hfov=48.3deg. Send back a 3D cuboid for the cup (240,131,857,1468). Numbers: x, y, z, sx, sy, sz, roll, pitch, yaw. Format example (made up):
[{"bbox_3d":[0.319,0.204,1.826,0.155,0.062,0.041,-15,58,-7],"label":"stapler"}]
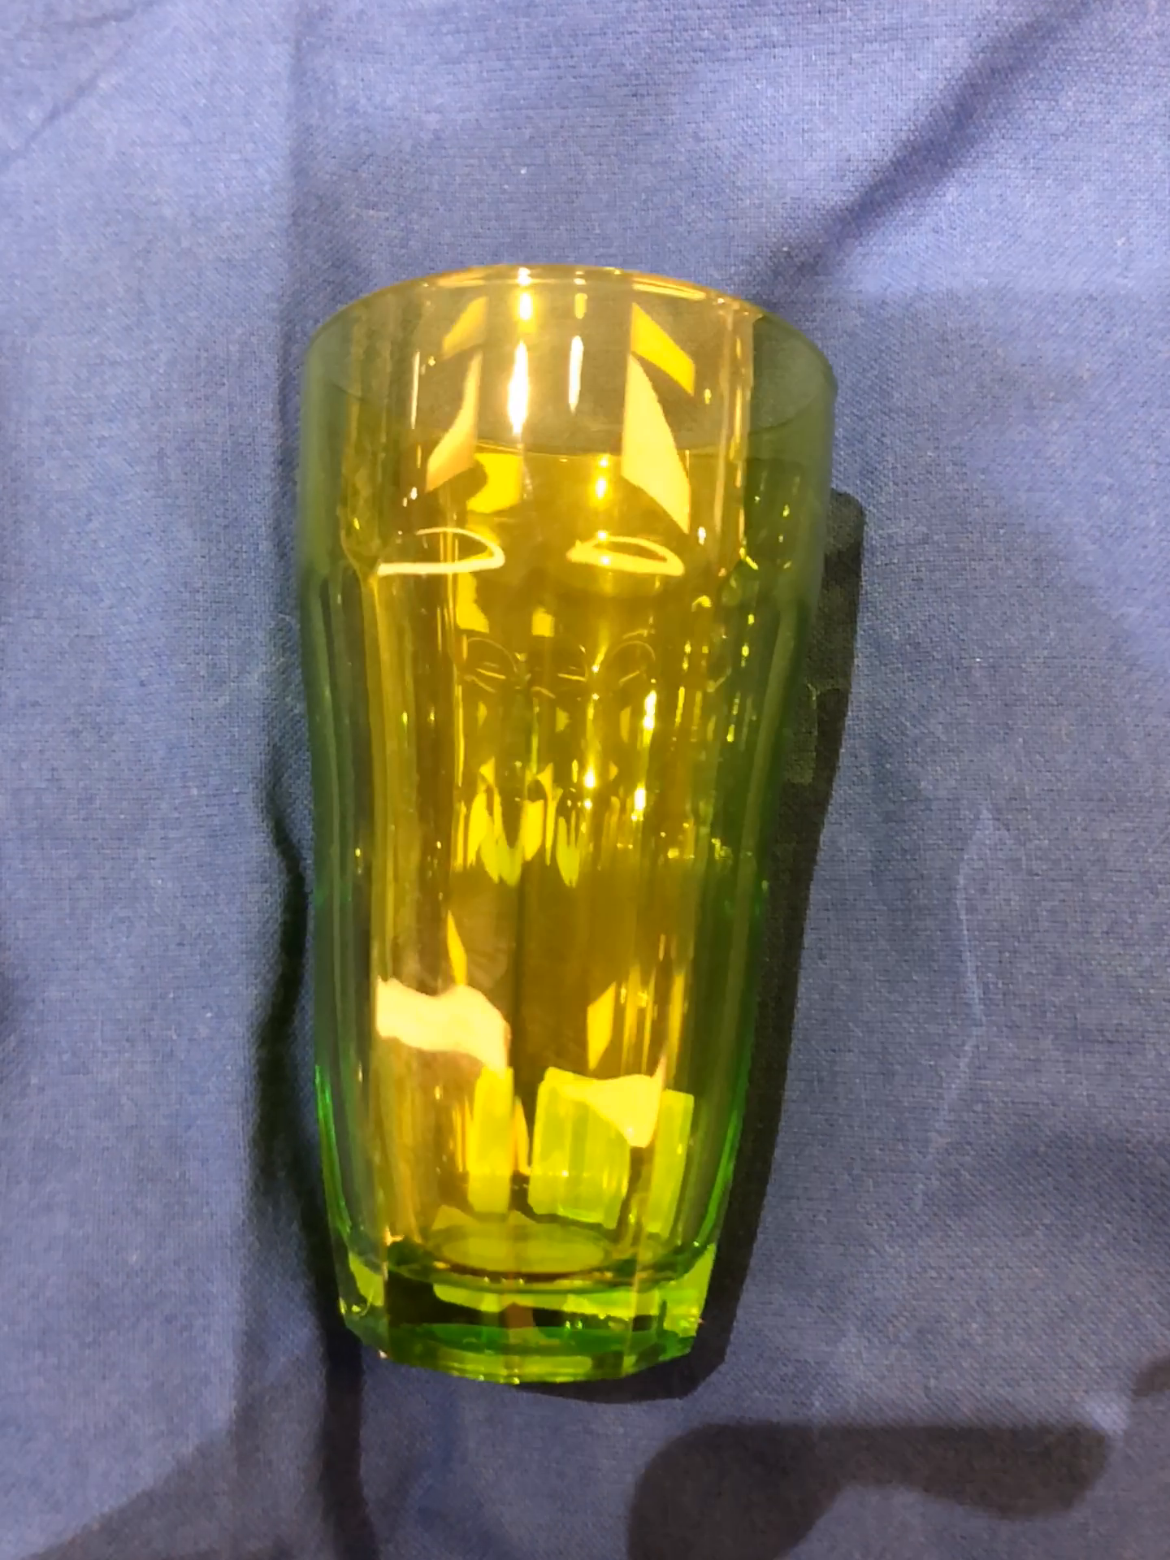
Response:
[{"bbox_3d":[-0.004,0.002,0.193,0.070,0.070,0.160,2,85,-2],"label":"cup"}]
